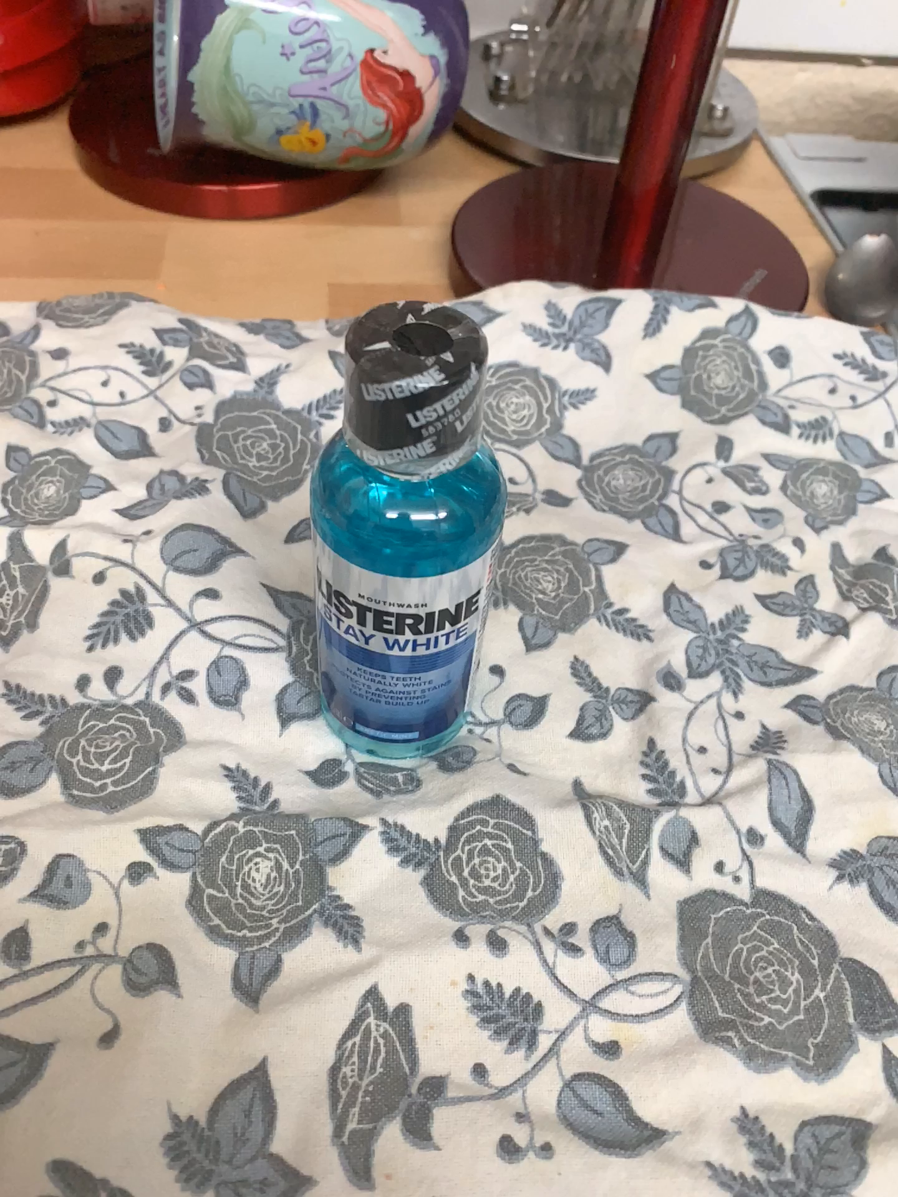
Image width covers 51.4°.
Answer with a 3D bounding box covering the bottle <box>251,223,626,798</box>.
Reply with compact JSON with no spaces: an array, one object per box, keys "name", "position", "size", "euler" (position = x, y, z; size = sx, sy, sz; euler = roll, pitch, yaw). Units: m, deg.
[{"name":"bottle","position":[-0.004,-0.012,0.203],"size":[0.050,0.109,0.050],"euler":[3,50,-4]}]
